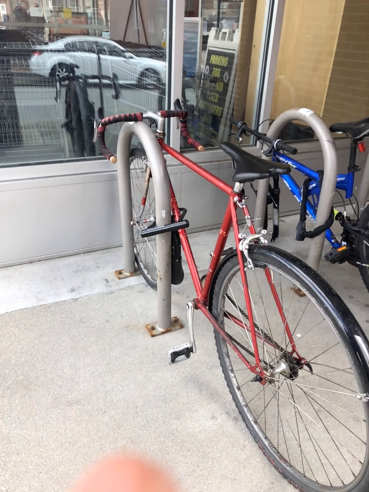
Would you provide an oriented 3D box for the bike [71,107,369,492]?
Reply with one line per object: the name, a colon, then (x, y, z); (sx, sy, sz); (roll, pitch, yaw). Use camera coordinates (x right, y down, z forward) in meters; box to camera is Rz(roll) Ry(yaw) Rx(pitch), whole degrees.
bike: (0.030, 0.086, 1.513); (0.459, 0.787, 1.696); (-11, 34, -24)
